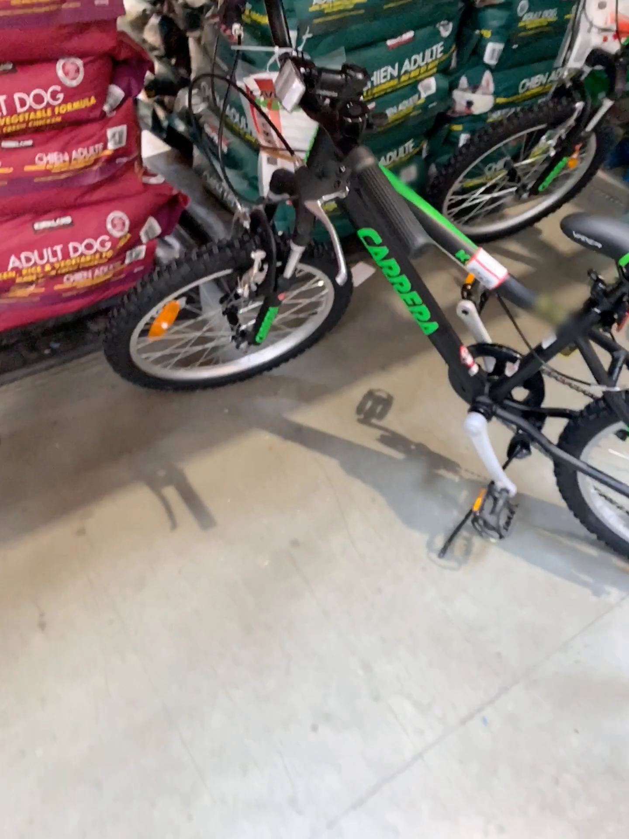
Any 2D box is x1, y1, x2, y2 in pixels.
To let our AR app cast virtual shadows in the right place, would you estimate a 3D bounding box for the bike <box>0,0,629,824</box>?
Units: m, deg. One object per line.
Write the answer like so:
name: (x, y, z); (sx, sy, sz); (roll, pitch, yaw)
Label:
bike: (0.254, -0.085, 0.945); (1.304, 0.855, 0.711); (17, 50, 9)
